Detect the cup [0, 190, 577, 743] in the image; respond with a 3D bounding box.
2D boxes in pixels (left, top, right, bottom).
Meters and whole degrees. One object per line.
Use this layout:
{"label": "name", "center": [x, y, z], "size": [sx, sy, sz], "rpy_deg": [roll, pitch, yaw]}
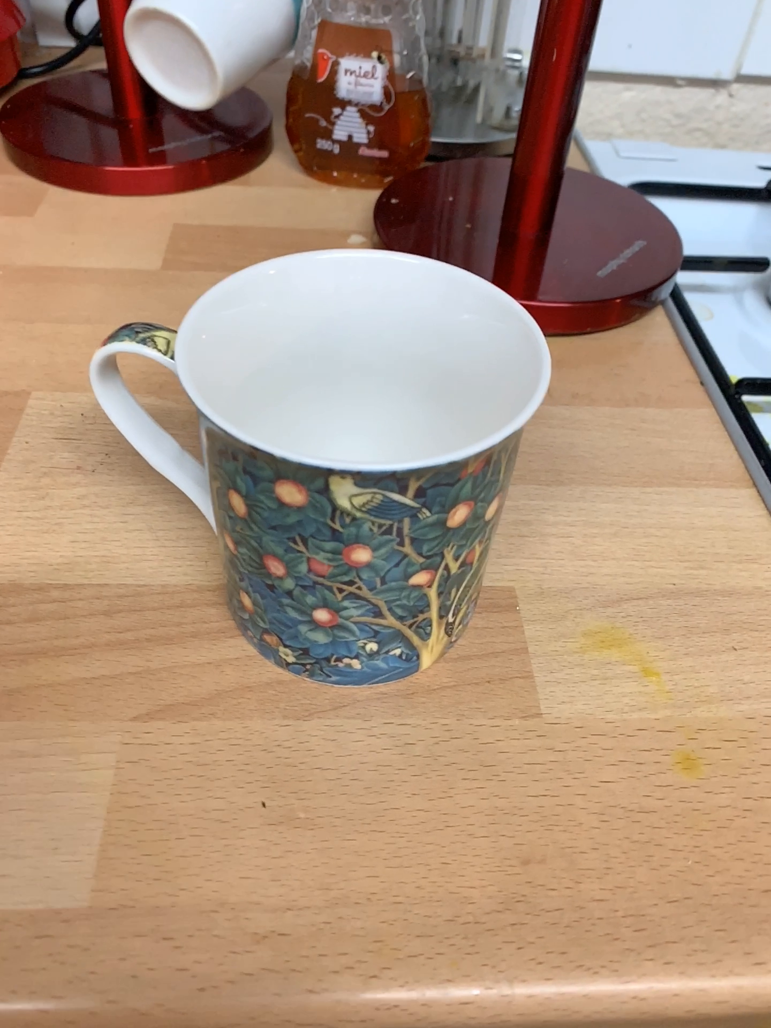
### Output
{"label": "cup", "center": [-0.022, -0.015, 0.219], "size": [0.120, 0.089, 0.091], "rpy_deg": [14, 47, 7]}
